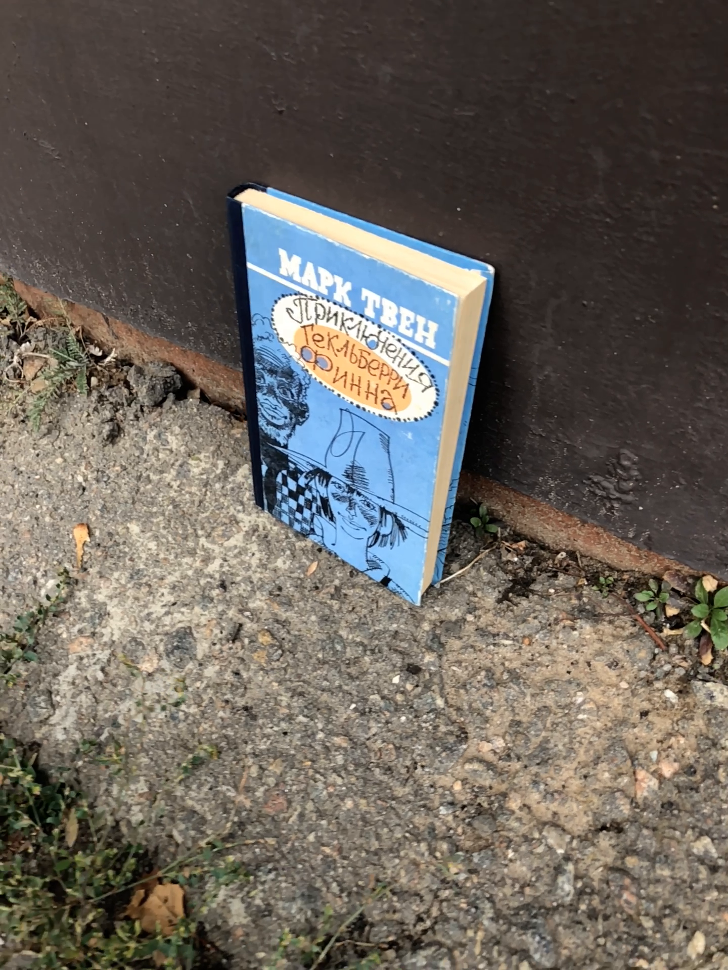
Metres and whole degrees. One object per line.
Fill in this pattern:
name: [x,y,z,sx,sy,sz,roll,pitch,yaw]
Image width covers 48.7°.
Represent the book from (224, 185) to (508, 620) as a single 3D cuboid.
book: [-0.005,-0.035,0.399,0.130,0.186,0.030,30,49,28]
